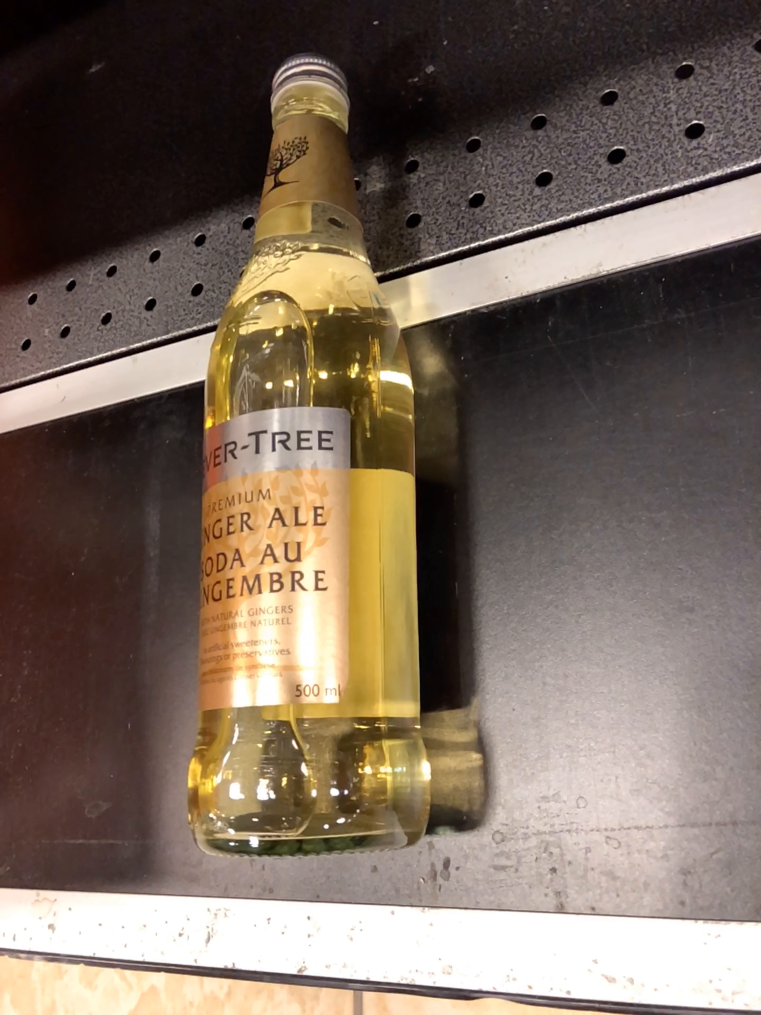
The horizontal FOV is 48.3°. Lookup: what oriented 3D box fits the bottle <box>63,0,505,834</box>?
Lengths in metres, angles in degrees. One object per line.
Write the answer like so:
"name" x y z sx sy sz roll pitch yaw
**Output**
"bottle" -0.027 -0.044 0.284 0.090 0.090 0.280 -11 70 24
